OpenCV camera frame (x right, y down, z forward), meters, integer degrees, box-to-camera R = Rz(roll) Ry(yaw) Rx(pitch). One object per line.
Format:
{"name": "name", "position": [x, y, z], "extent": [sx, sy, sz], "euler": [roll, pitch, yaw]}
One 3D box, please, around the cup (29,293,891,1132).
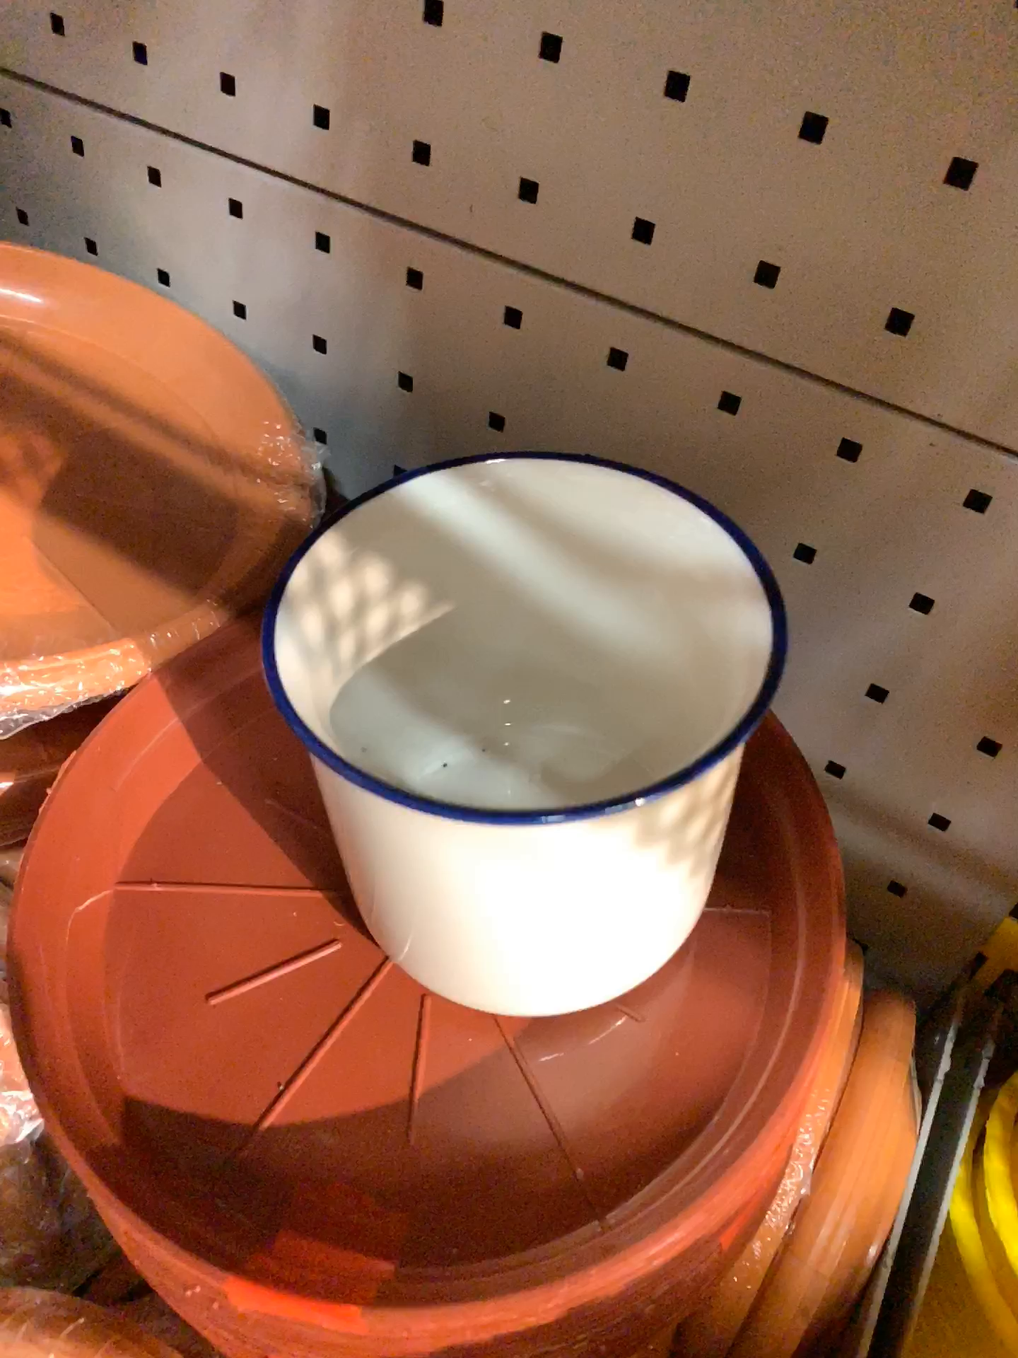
{"name": "cup", "position": [-0.010, 0.002, 0.216], "extent": [0.120, 0.090, 0.090], "euler": [36, 61, 26]}
